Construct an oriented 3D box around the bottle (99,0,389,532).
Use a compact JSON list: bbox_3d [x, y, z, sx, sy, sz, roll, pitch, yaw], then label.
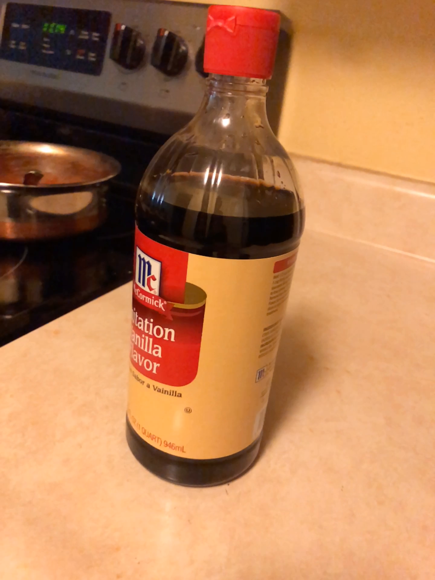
[{"bbox_3d":[-0.003,-0.009,0.254,0.080,0.239,0.090,-14,32,-37],"label":"bottle"}]
